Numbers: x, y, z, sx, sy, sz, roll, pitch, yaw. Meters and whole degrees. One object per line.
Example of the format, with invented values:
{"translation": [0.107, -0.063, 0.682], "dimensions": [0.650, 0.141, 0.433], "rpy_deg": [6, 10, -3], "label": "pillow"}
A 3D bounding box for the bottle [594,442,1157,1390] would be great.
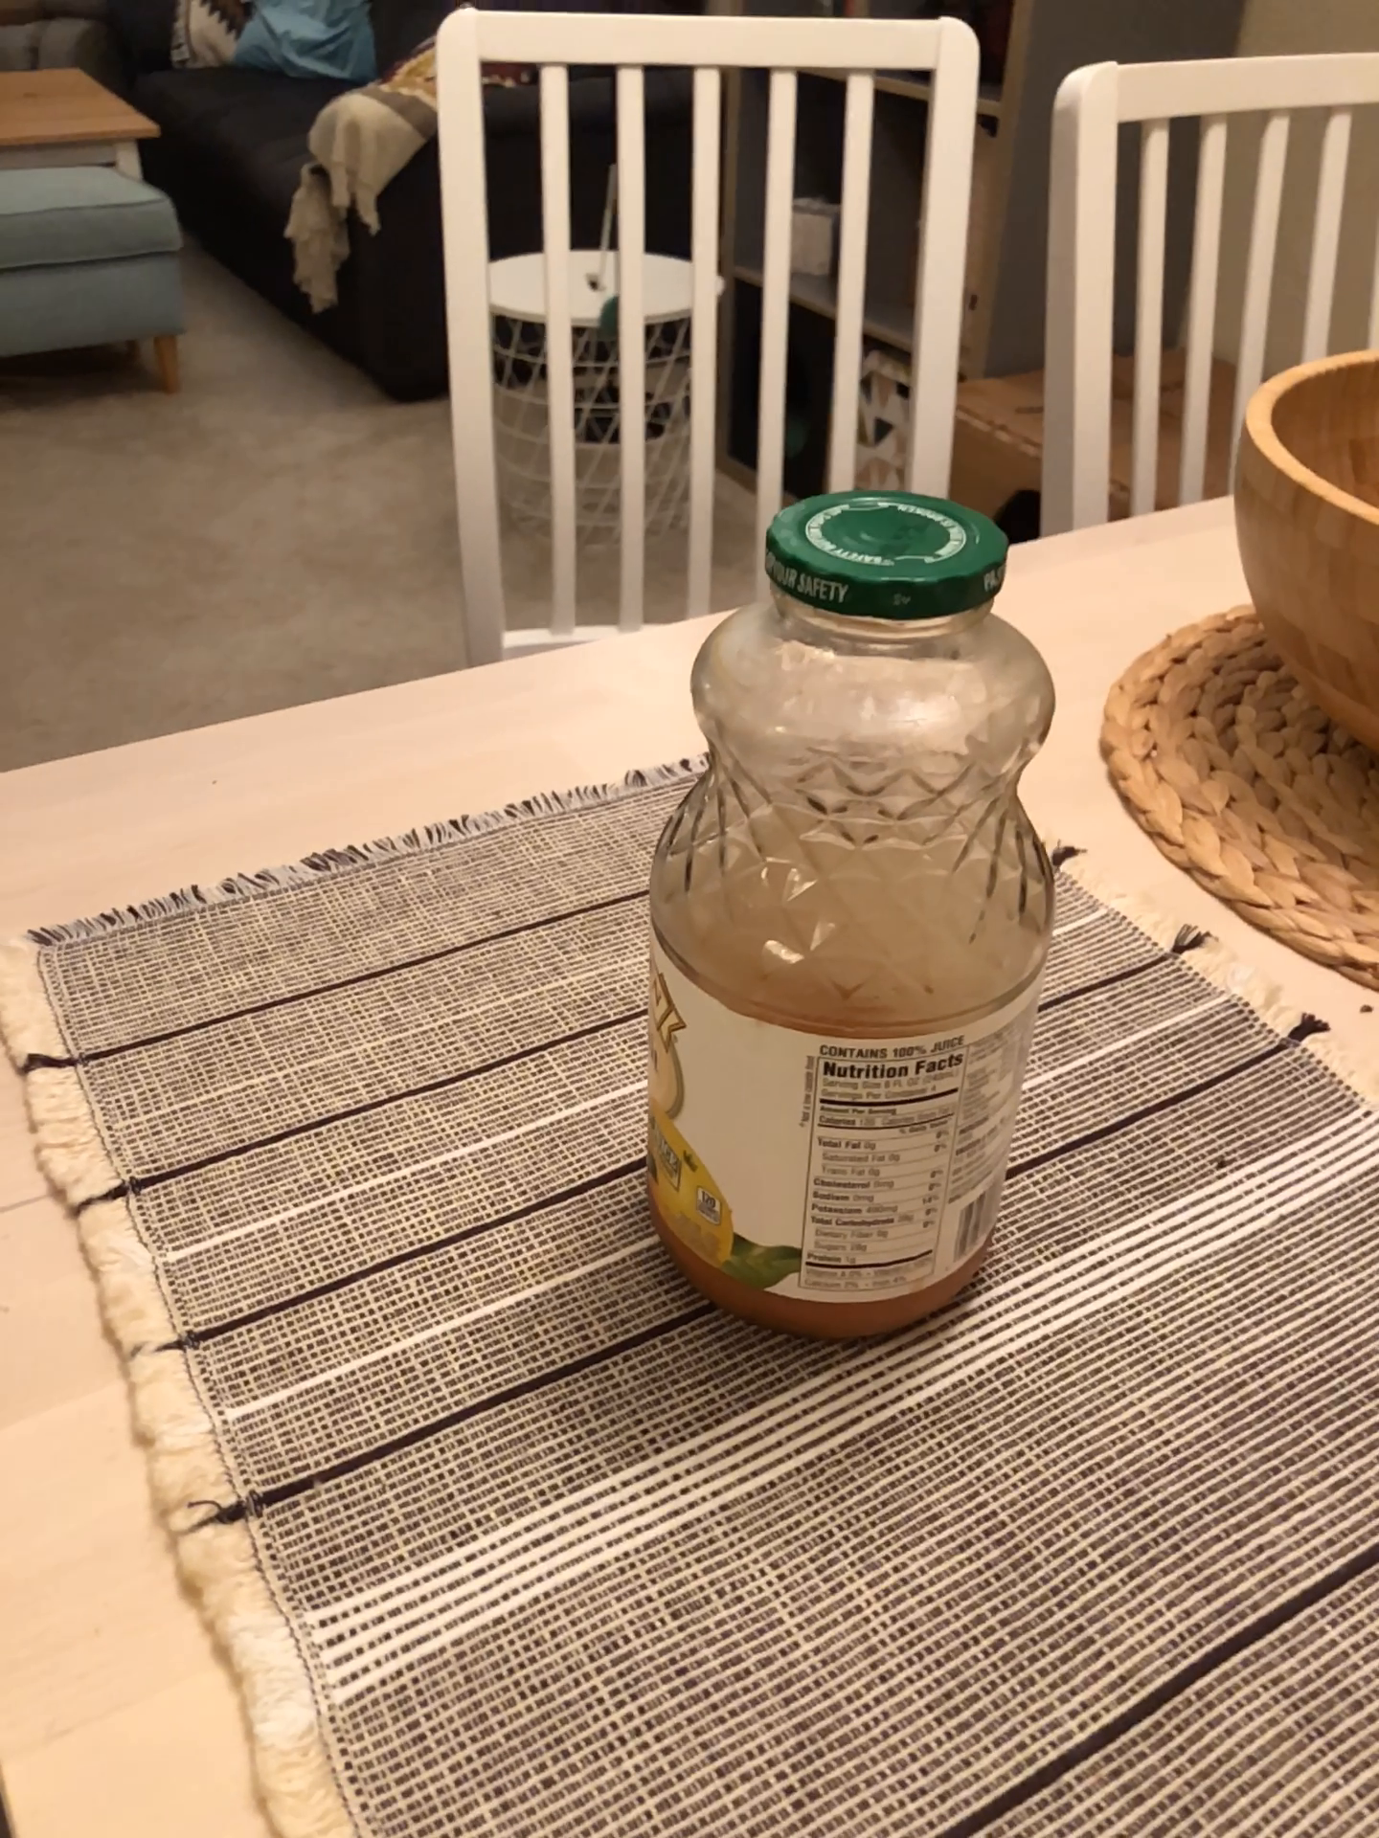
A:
{"translation": [0.041, 0.001, 0.365], "dimensions": [0.100, 0.189, 0.101], "rpy_deg": [1, 36, -1], "label": "bottle"}
